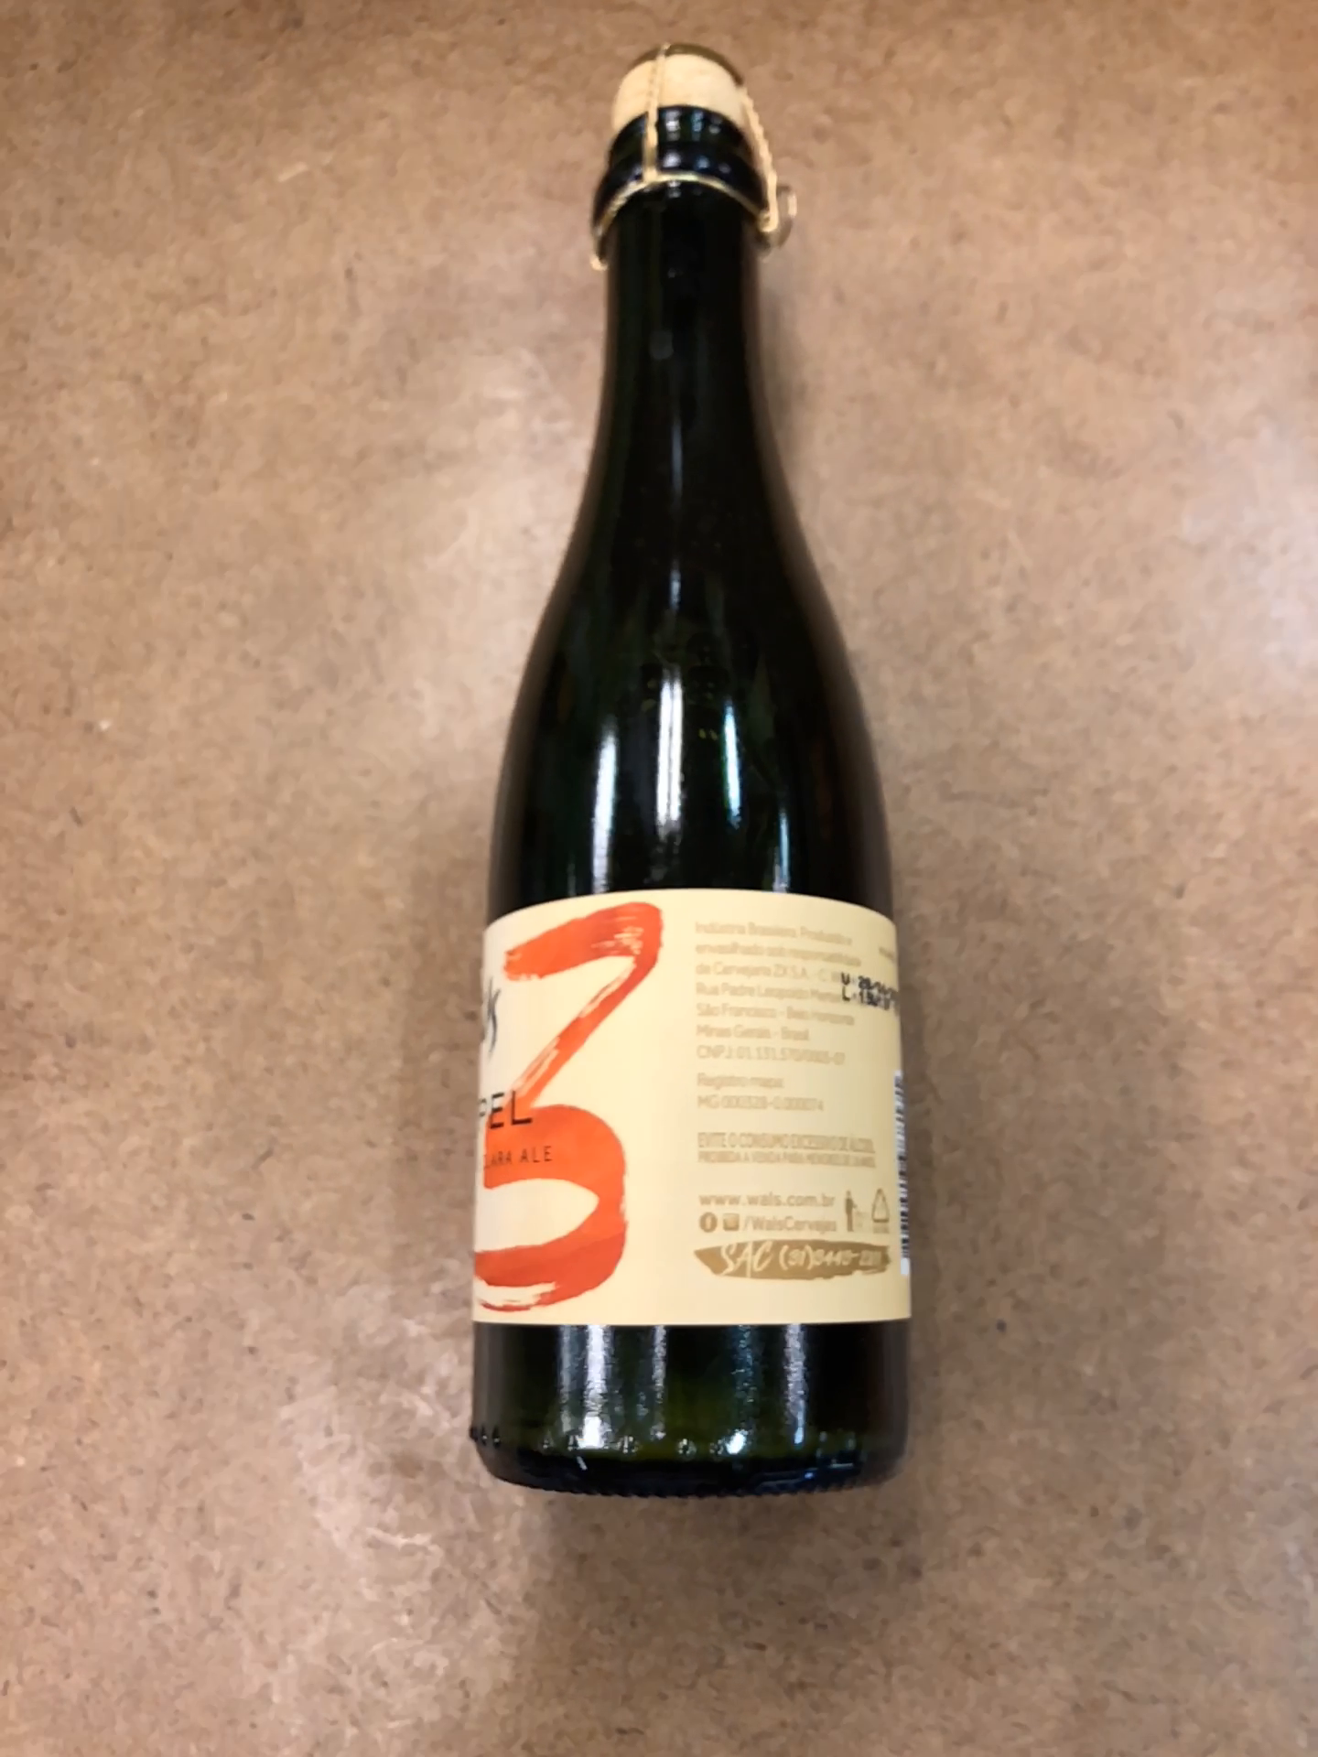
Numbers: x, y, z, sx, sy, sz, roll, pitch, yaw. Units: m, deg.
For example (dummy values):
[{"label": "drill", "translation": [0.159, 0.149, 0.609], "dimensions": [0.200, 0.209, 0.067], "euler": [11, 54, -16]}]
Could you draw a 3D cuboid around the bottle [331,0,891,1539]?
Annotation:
[{"label": "bottle", "translation": [-0.005, -0.042, 0.244], "dimensions": [0.070, 0.050, 0.270], "euler": [-1, 75, 3]}]
